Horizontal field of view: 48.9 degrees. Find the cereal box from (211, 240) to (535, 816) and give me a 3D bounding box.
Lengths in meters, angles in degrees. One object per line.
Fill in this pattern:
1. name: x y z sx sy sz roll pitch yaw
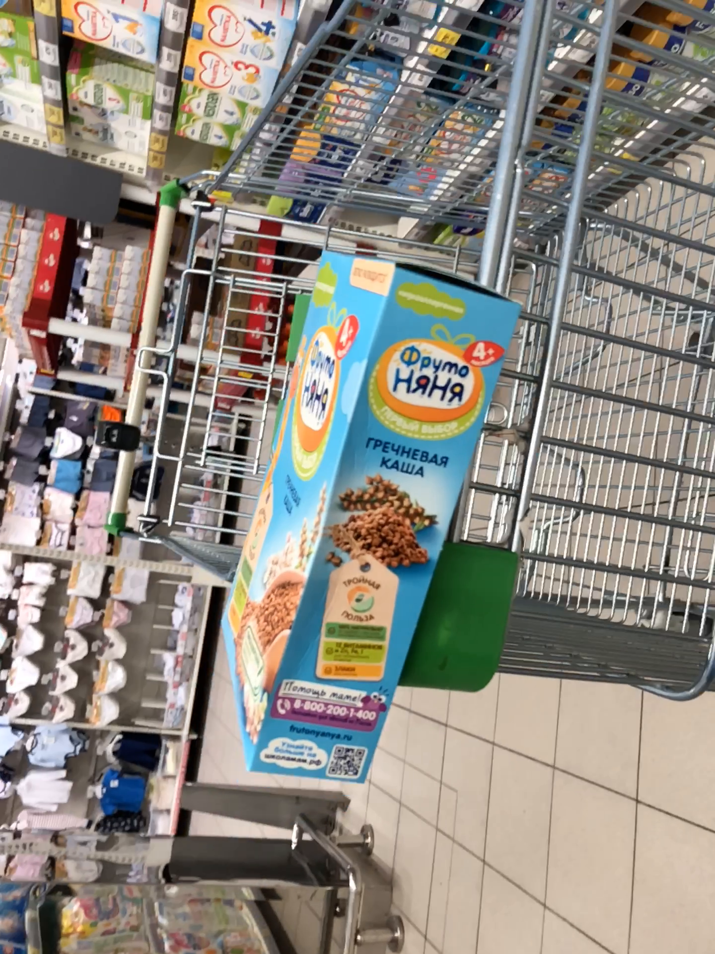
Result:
1. cereal box: -0.011 0.008 0.349 0.151 0.050 0.210 -129 53 -68
